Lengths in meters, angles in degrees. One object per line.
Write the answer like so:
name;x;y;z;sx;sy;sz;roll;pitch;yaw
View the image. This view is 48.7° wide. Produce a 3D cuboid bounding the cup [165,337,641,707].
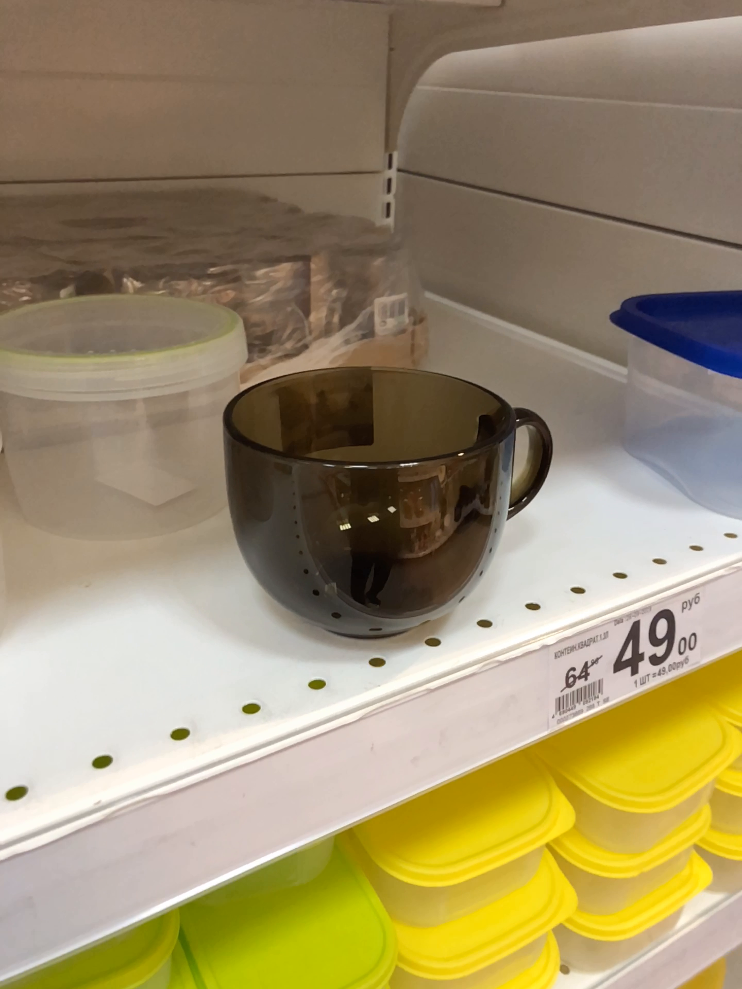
cup;0.009;-0.002;0.311;0.135;0.071;0.105;-15;32;-30
